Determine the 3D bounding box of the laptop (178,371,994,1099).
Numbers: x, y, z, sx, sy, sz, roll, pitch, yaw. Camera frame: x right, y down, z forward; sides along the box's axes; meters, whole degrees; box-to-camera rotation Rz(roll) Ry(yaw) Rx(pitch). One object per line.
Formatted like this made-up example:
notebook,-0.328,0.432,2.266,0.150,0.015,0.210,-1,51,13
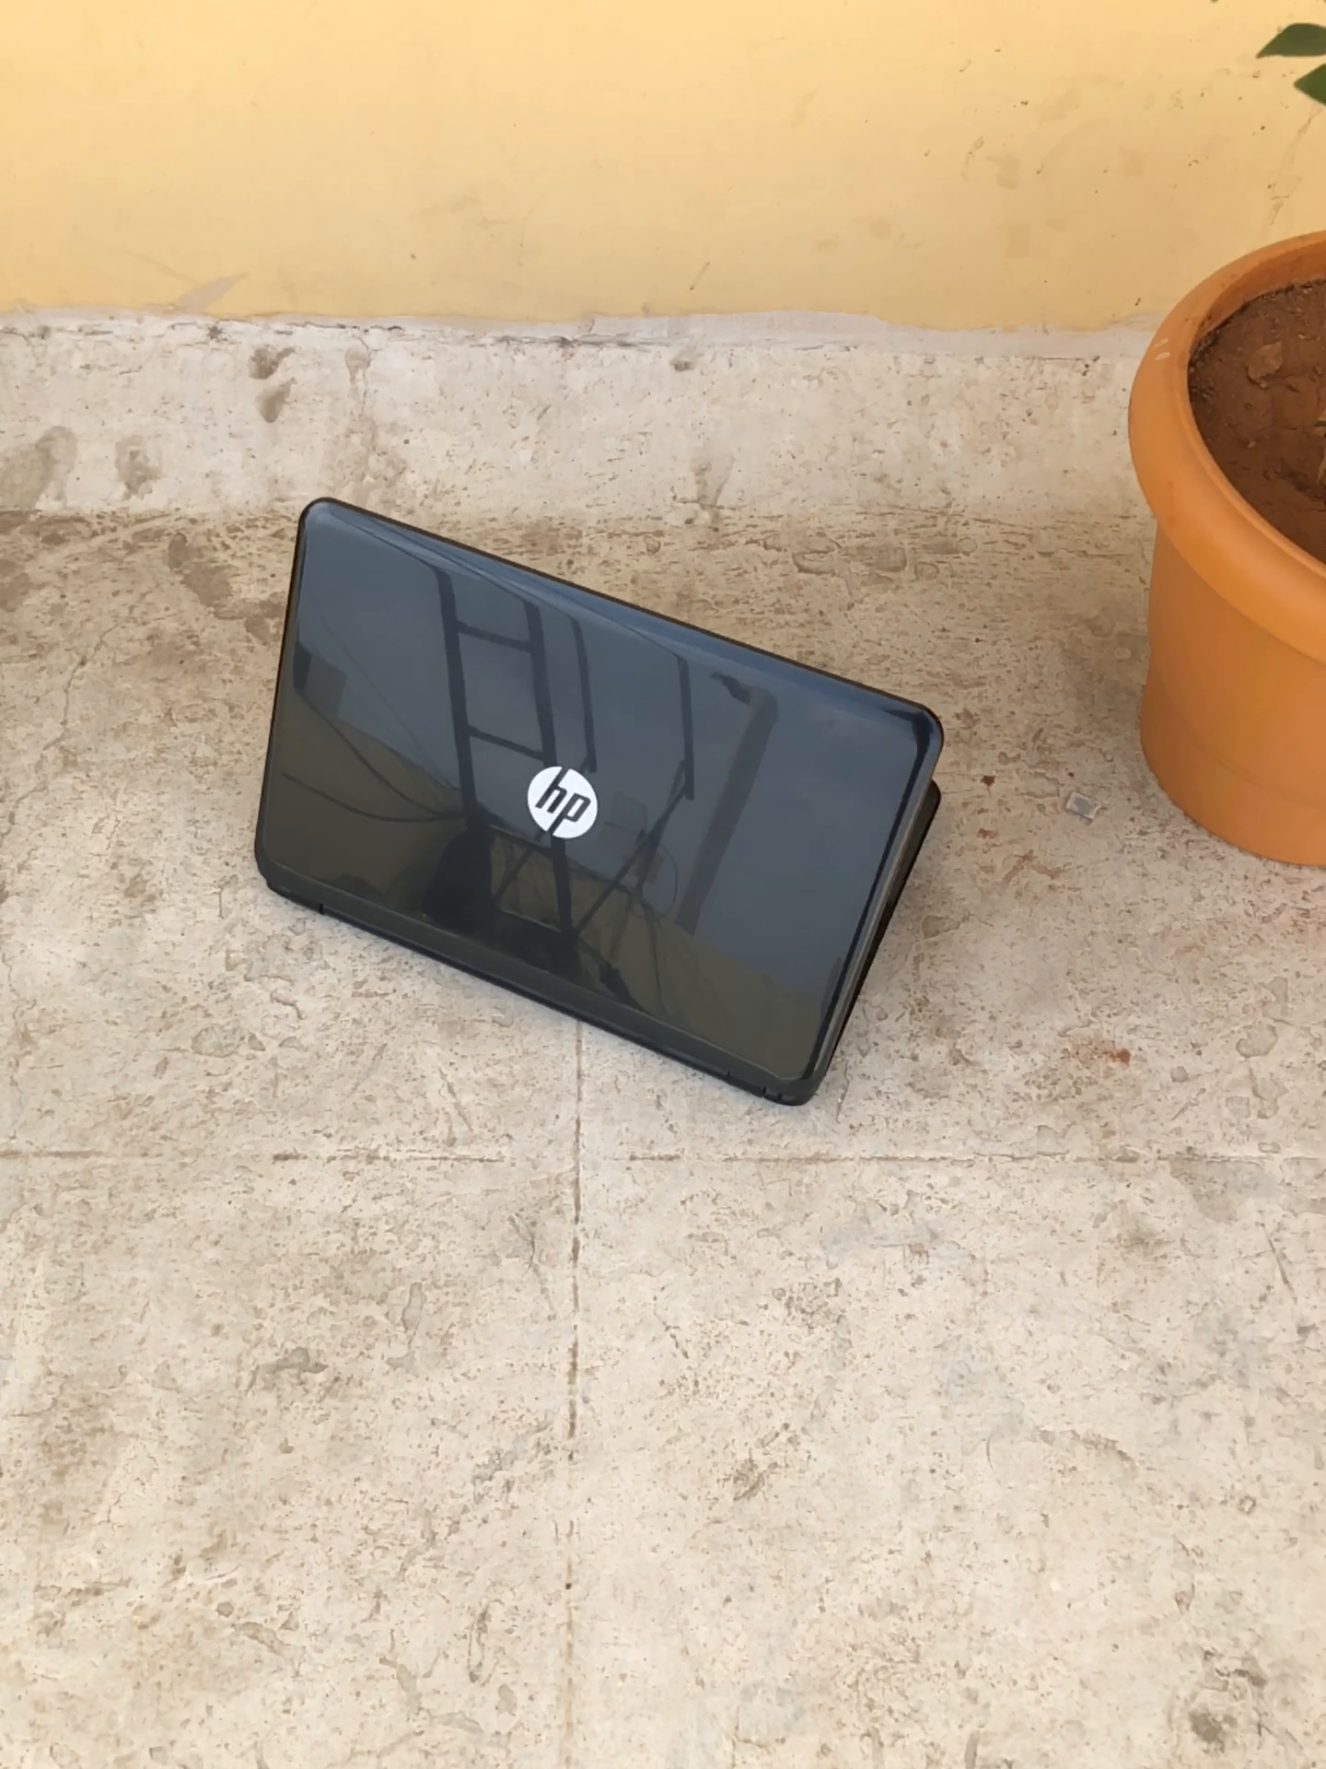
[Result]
laptop,-0.037,-0.083,0.814,0.345,0.189,0.222,21,63,12
